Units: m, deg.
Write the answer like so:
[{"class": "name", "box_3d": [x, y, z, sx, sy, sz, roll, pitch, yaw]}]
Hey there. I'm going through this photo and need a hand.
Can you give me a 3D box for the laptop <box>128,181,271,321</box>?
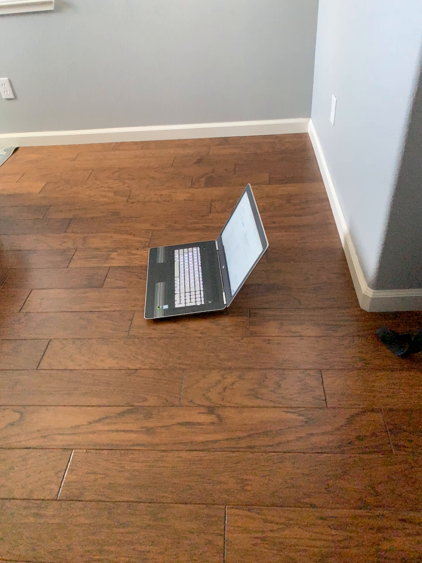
[{"class": "laptop", "box_3d": [-0.040, -0.121, 1.492, 0.421, 0.233, 0.413, -7, 39, 0]}]
